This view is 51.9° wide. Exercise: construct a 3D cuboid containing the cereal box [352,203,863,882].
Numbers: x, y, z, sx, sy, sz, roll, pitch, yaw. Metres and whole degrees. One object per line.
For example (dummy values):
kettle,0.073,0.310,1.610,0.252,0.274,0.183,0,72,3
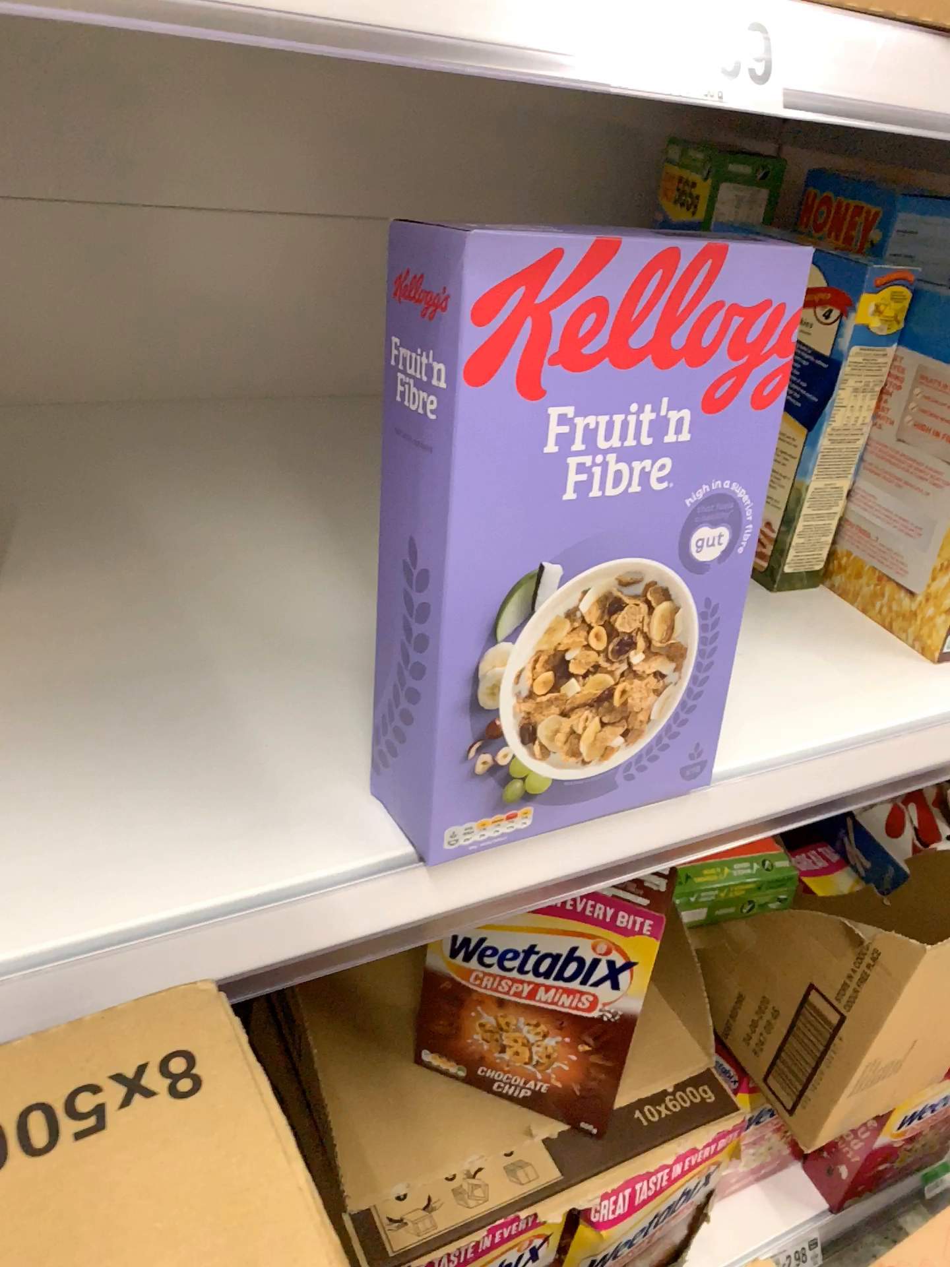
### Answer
cereal box,0.056,-0.046,0.493,0.211,0.298,0.080,-9,28,-28
